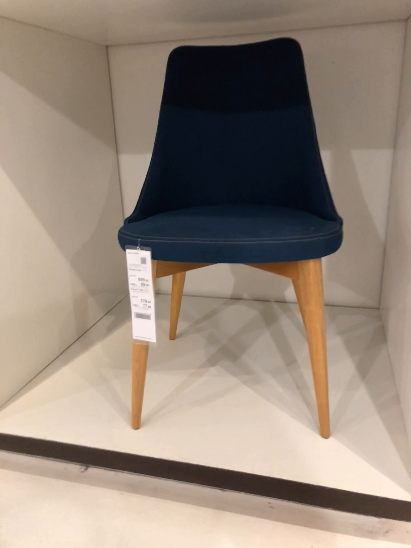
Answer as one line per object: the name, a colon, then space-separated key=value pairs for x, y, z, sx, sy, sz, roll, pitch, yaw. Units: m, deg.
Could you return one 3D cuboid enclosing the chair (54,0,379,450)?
chair: x=0.065 y=-0.131 z=1.096 sx=0.520 sy=0.865 sz=0.523 roll=0 pitch=19 yaw=10
